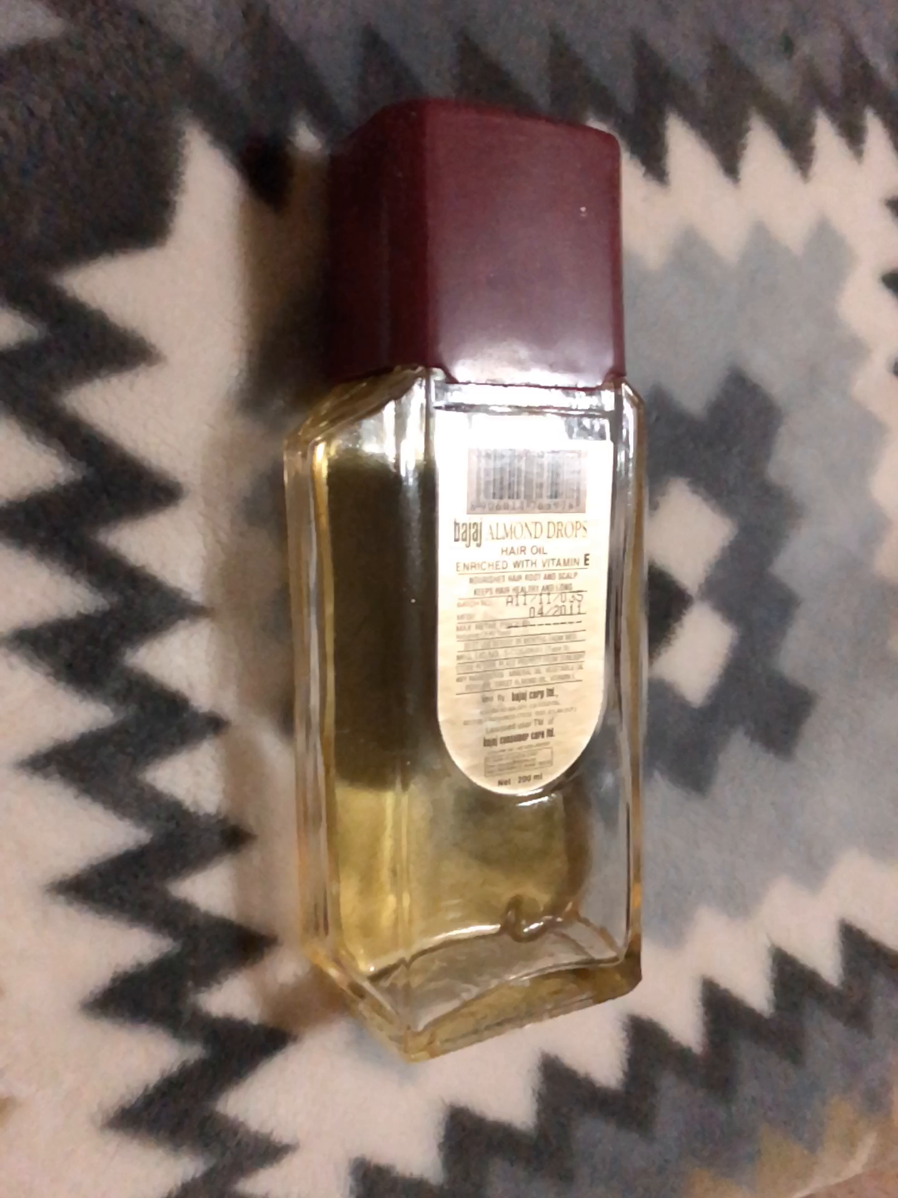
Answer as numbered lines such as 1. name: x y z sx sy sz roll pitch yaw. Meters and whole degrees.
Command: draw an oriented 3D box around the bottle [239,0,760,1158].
1. bottle: 0.012 -0.010 0.188 0.080 0.040 0.190 -5 95 -28
